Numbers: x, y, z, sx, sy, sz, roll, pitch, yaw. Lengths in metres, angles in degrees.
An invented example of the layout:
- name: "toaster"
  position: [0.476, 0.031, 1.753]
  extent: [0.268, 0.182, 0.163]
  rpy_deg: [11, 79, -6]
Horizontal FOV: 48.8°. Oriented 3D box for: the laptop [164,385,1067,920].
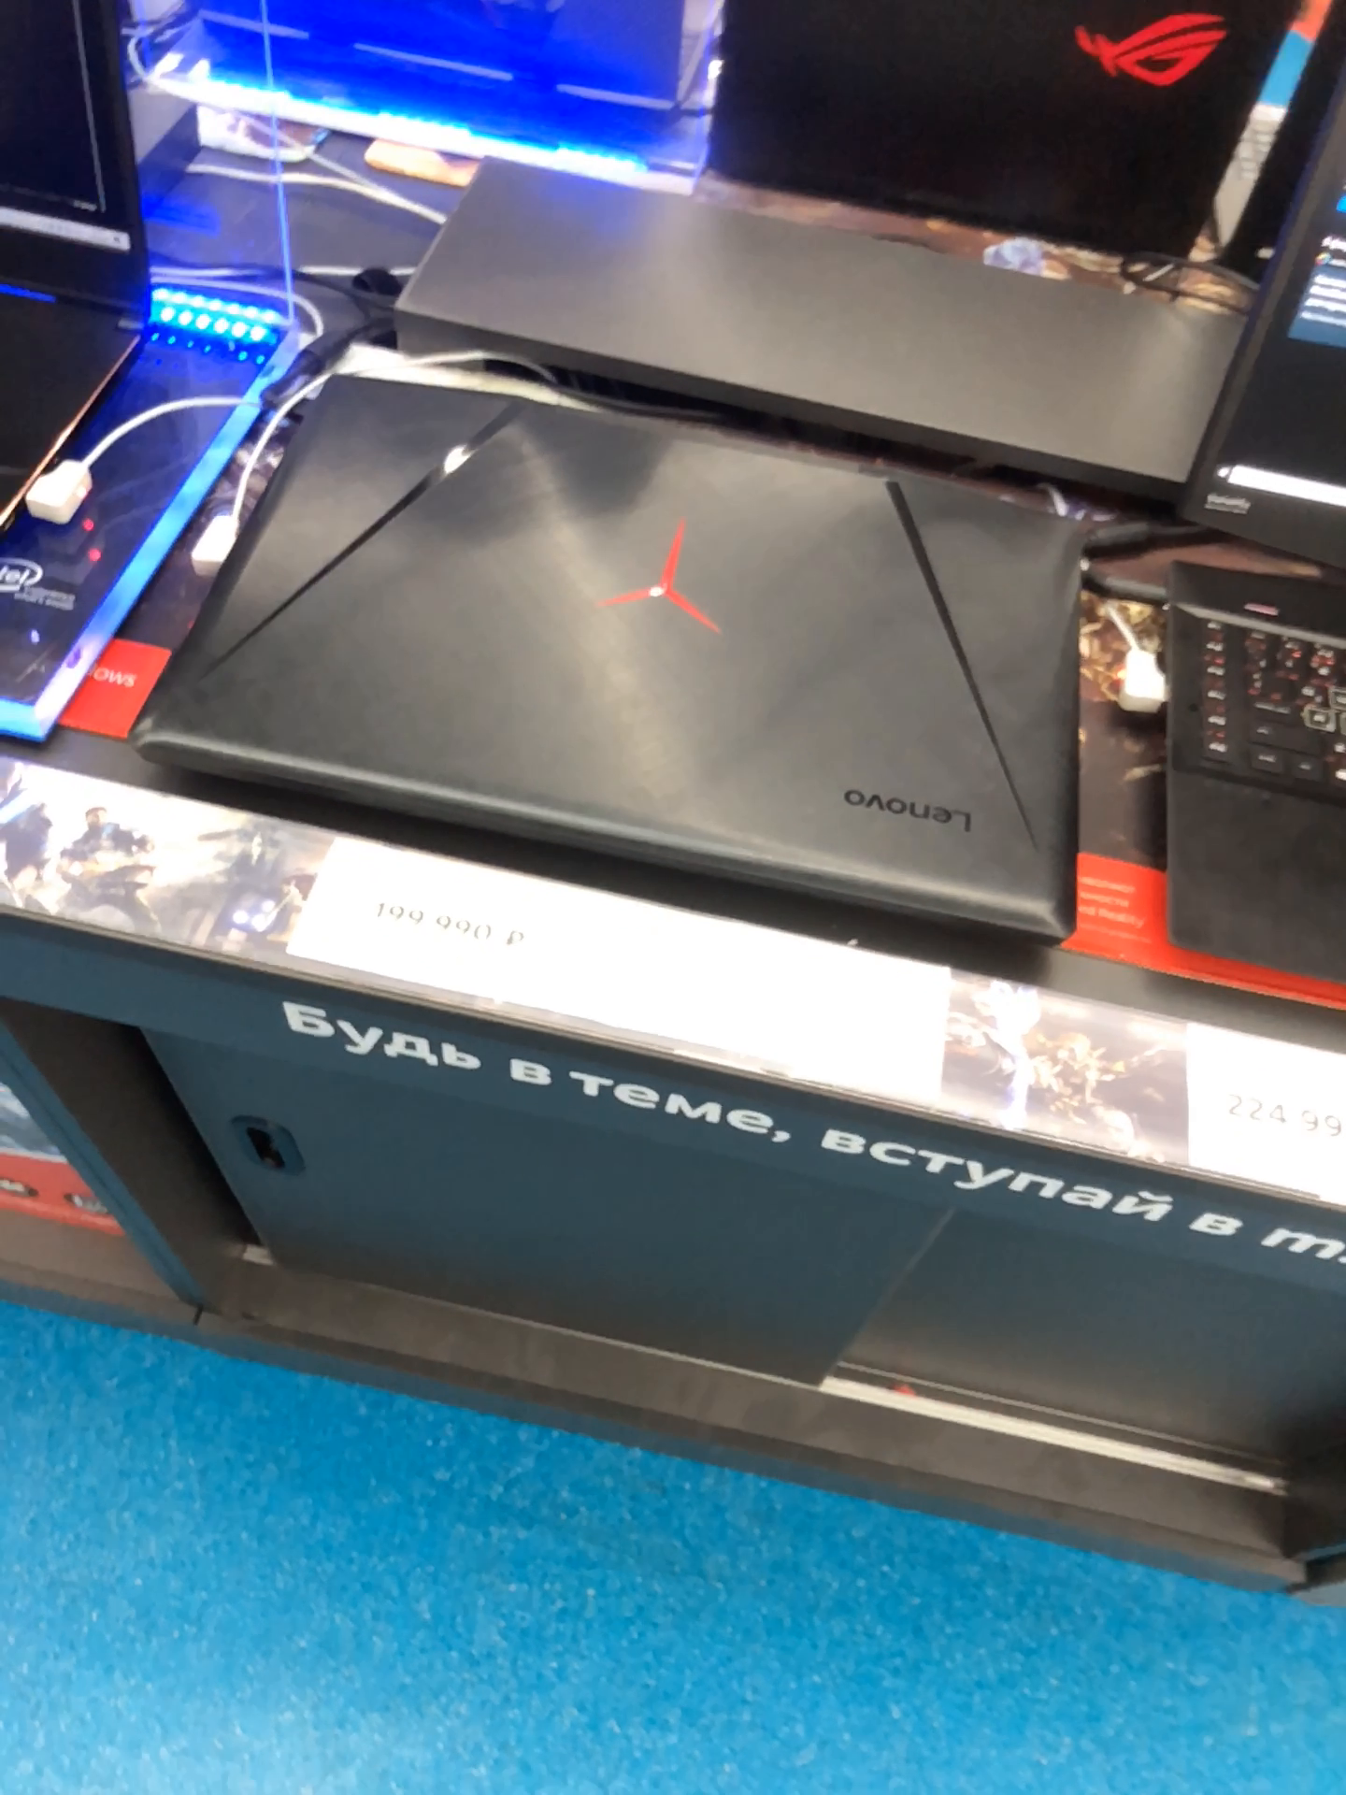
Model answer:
- name: "laptop"
  position: [-0.004, -0.135, 0.728]
  extent: [0.399, 0.005, 0.270]
  rpy_deg: [11, 52, 1]
